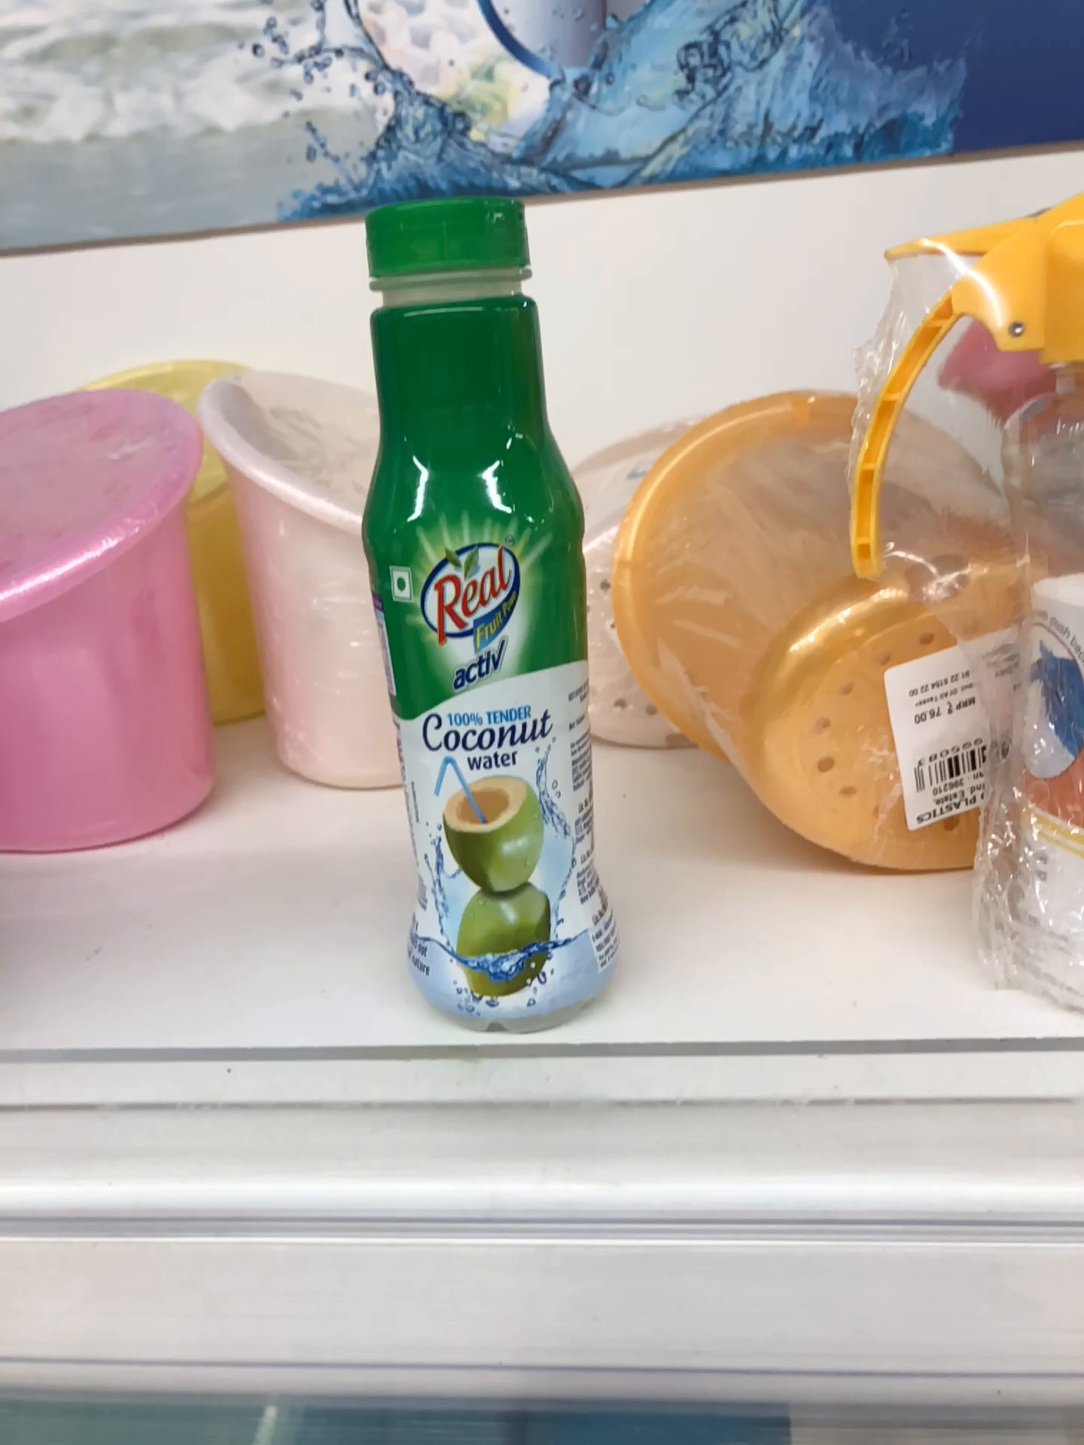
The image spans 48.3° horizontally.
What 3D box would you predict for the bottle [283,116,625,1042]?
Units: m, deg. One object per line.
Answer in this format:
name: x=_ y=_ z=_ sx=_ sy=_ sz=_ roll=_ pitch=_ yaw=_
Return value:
bottle: x=-0.015 y=-0.026 z=0.259 sx=0.050 sy=0.179 sz=0.050 roll=-4 pitch=19 yaw=1
